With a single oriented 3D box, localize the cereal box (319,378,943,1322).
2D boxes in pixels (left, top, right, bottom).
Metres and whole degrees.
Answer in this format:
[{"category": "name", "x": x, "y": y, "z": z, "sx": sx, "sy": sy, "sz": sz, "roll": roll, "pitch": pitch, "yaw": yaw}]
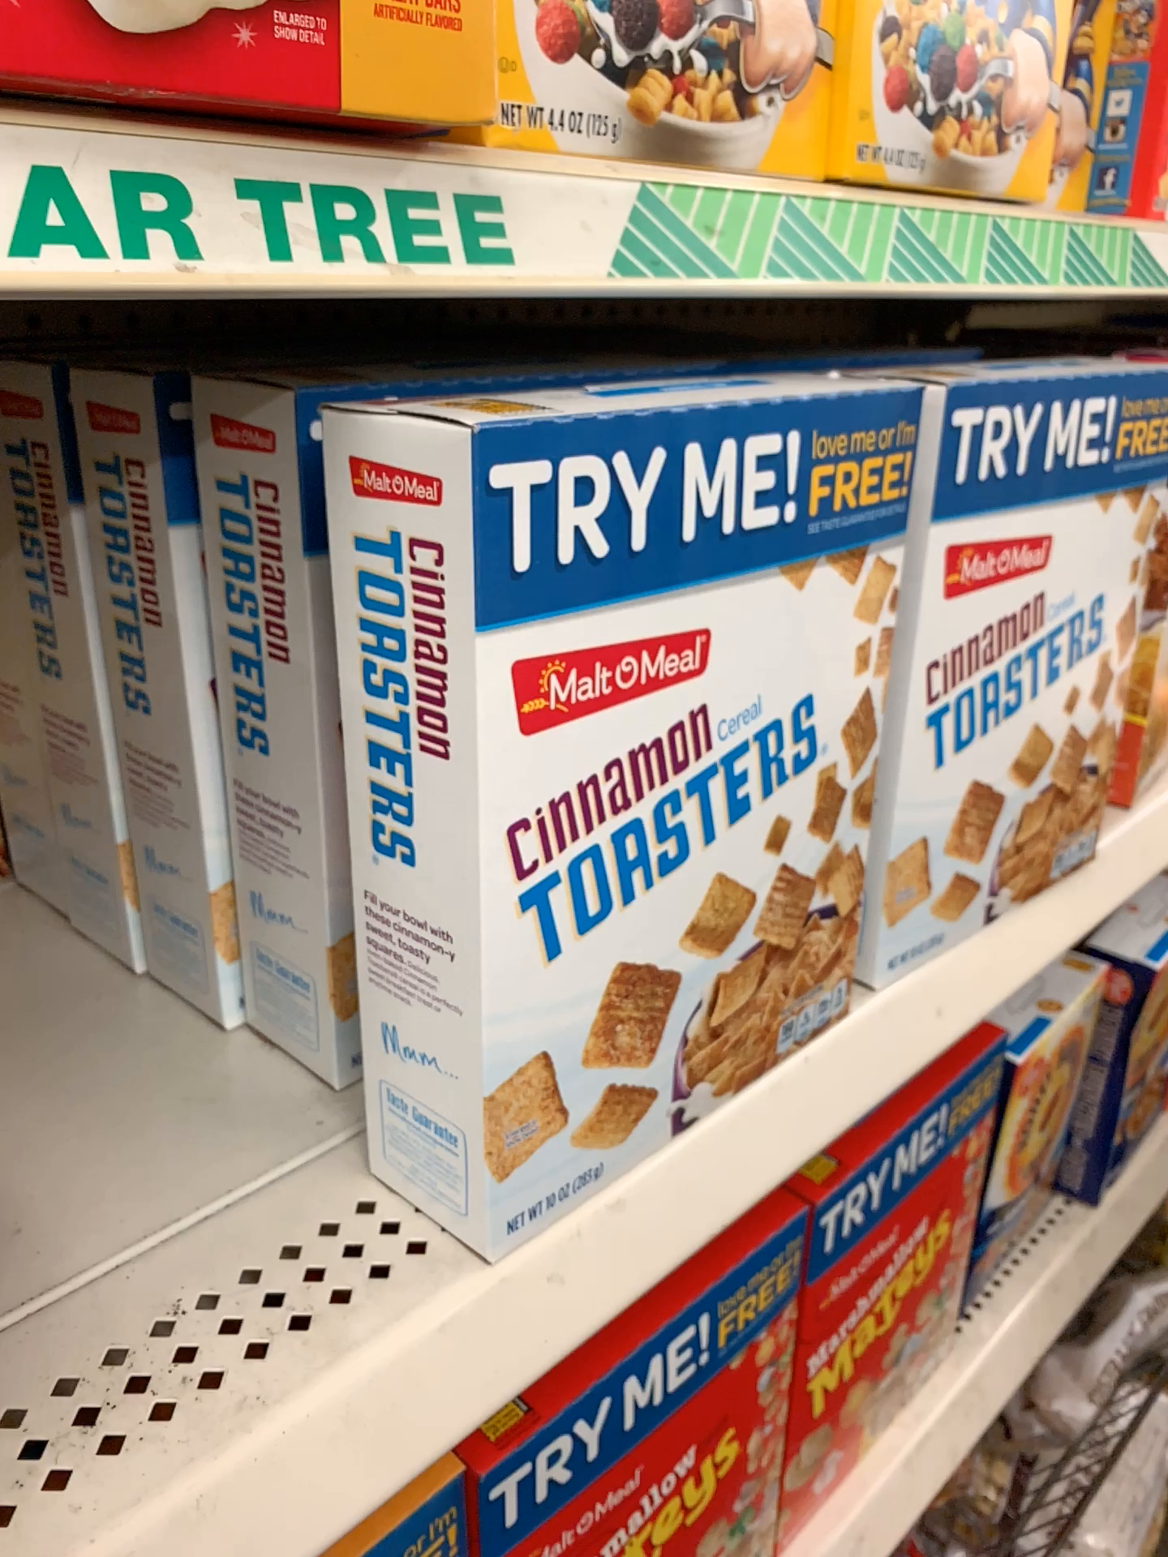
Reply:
[{"category": "cereal box", "x": 0.018, "y": 0.006, "z": 0.329, "sx": 0.050, "sy": 0.209, "sz": 0.170, "roll": 21, "pitch": 28, "yaw": 38}]
